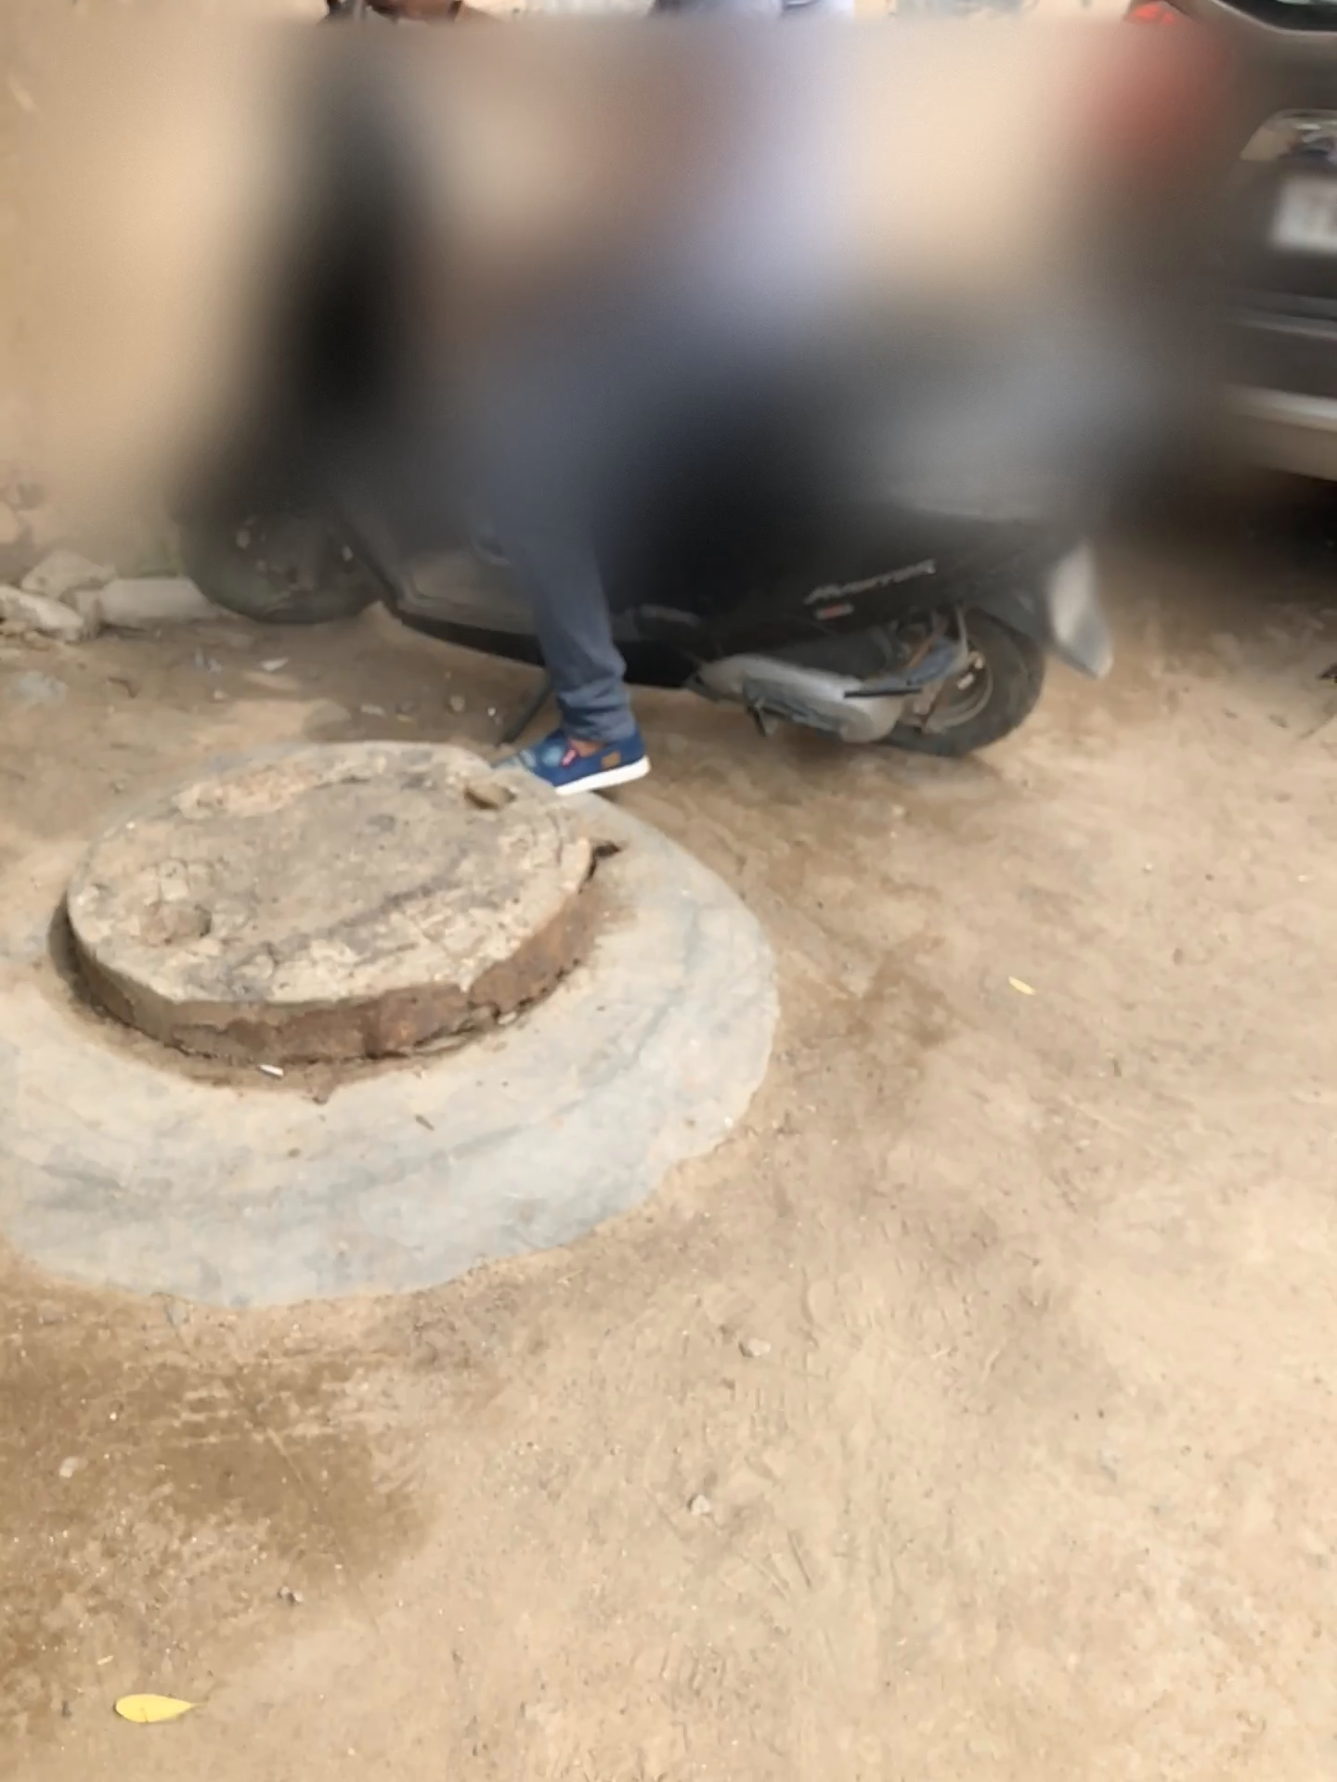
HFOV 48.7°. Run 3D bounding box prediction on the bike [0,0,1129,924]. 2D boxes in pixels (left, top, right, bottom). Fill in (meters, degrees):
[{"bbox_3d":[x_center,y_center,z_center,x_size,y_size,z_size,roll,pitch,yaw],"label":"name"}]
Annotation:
[{"bbox_3d":[-0.208,-0.785,2.373,1.650,1.228,0.656,9,32,13],"label":"bike"}]
